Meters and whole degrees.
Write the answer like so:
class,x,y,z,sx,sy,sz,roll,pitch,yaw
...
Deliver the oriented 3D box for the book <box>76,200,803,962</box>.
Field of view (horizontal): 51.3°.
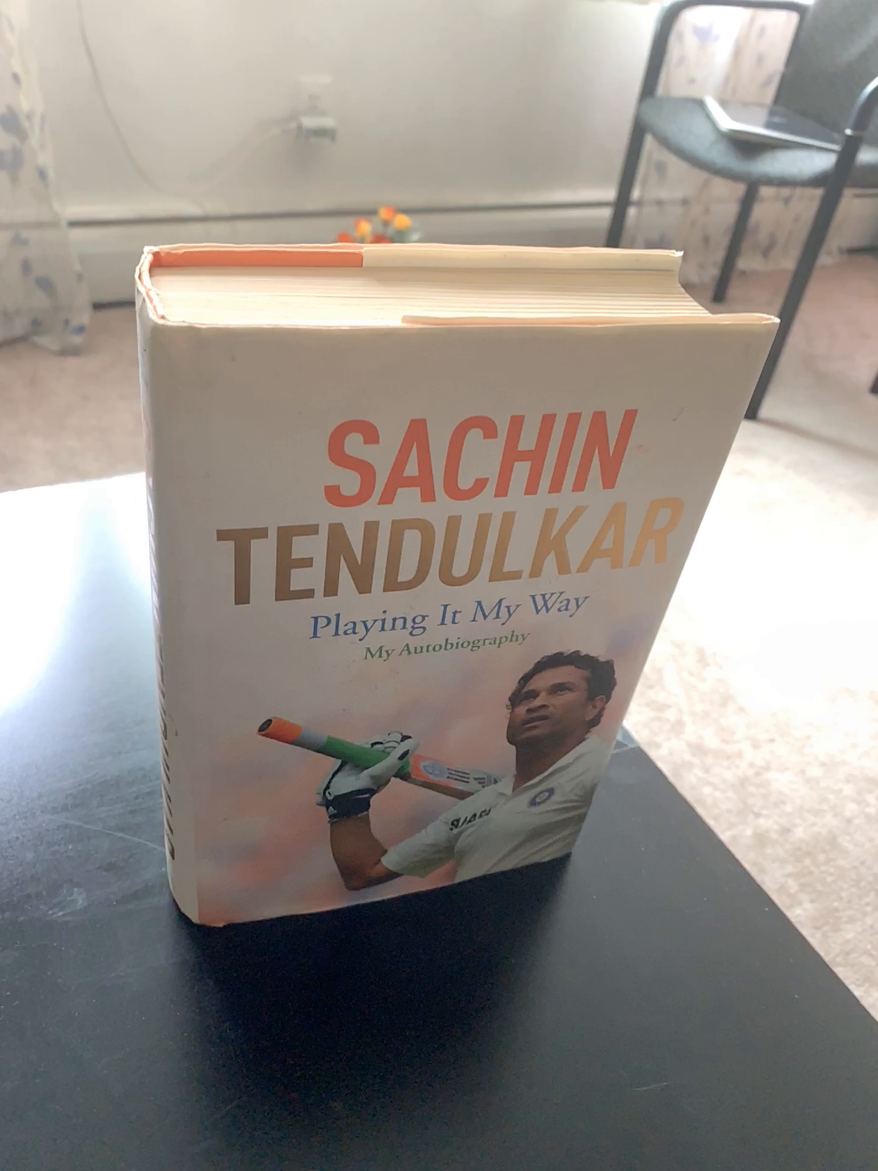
class,x,y,z,sx,sy,sz,roll,pitch,yaw
book,-0.012,0.011,0.297,0.170,0.238,0.060,-6,40,-19
